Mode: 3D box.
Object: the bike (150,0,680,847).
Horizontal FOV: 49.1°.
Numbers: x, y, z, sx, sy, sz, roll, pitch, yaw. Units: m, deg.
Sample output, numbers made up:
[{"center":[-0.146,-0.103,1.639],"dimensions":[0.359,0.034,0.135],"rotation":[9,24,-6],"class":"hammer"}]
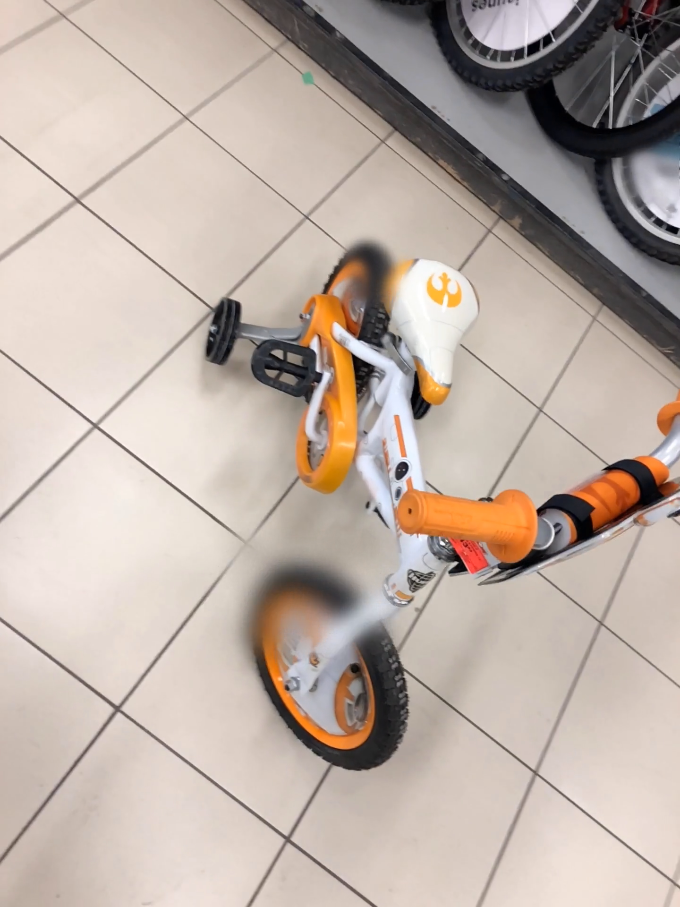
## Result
[{"center":[0.057,-0.043,0.958],"dimensions":[0.436,0.715,0.815],"rotation":[5,68,-20],"class":"bike"}]
